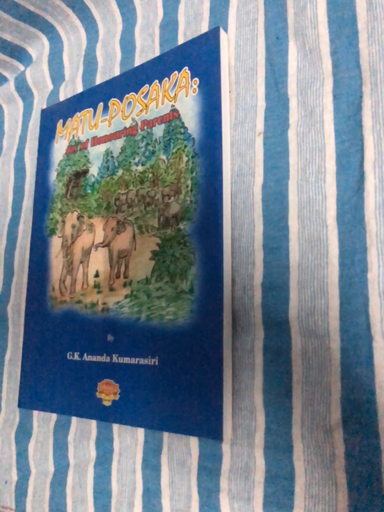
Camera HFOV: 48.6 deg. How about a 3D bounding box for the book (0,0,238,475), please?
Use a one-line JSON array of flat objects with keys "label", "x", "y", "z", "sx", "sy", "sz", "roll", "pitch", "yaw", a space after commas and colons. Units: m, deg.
[{"label": "book", "x": -0.051, "y": -0.011, "z": 0.259, "sx": 0.170, "sy": 0.020, "sz": 0.230, "roll": -6, "pitch": 78, "yaw": 36}]
